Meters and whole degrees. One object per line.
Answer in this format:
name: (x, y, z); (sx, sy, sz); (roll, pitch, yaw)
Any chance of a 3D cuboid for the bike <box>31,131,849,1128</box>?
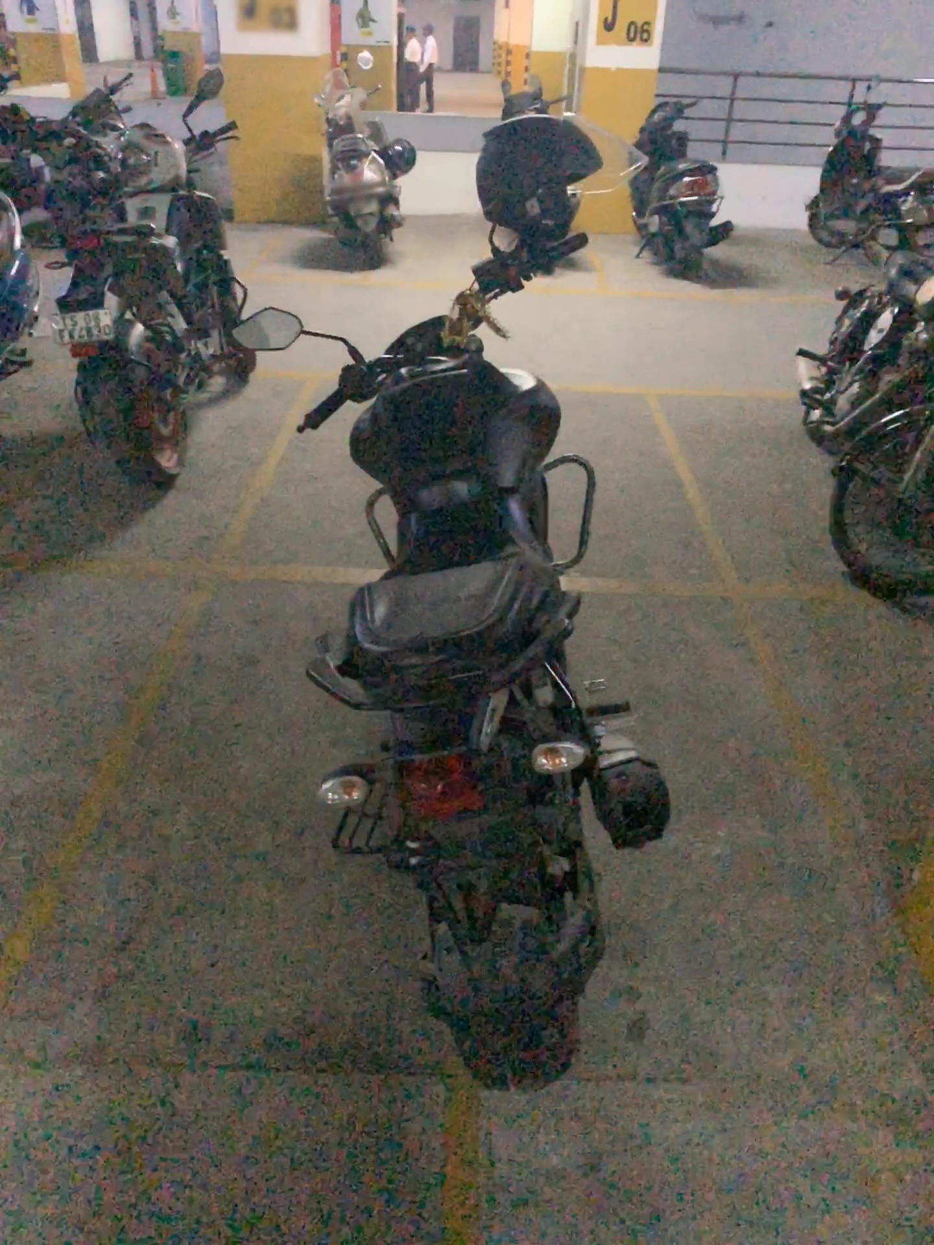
bike: (-0.167, -0.197, 1.892); (0.785, 1.097, 1.744); (-2, 35, -7)
